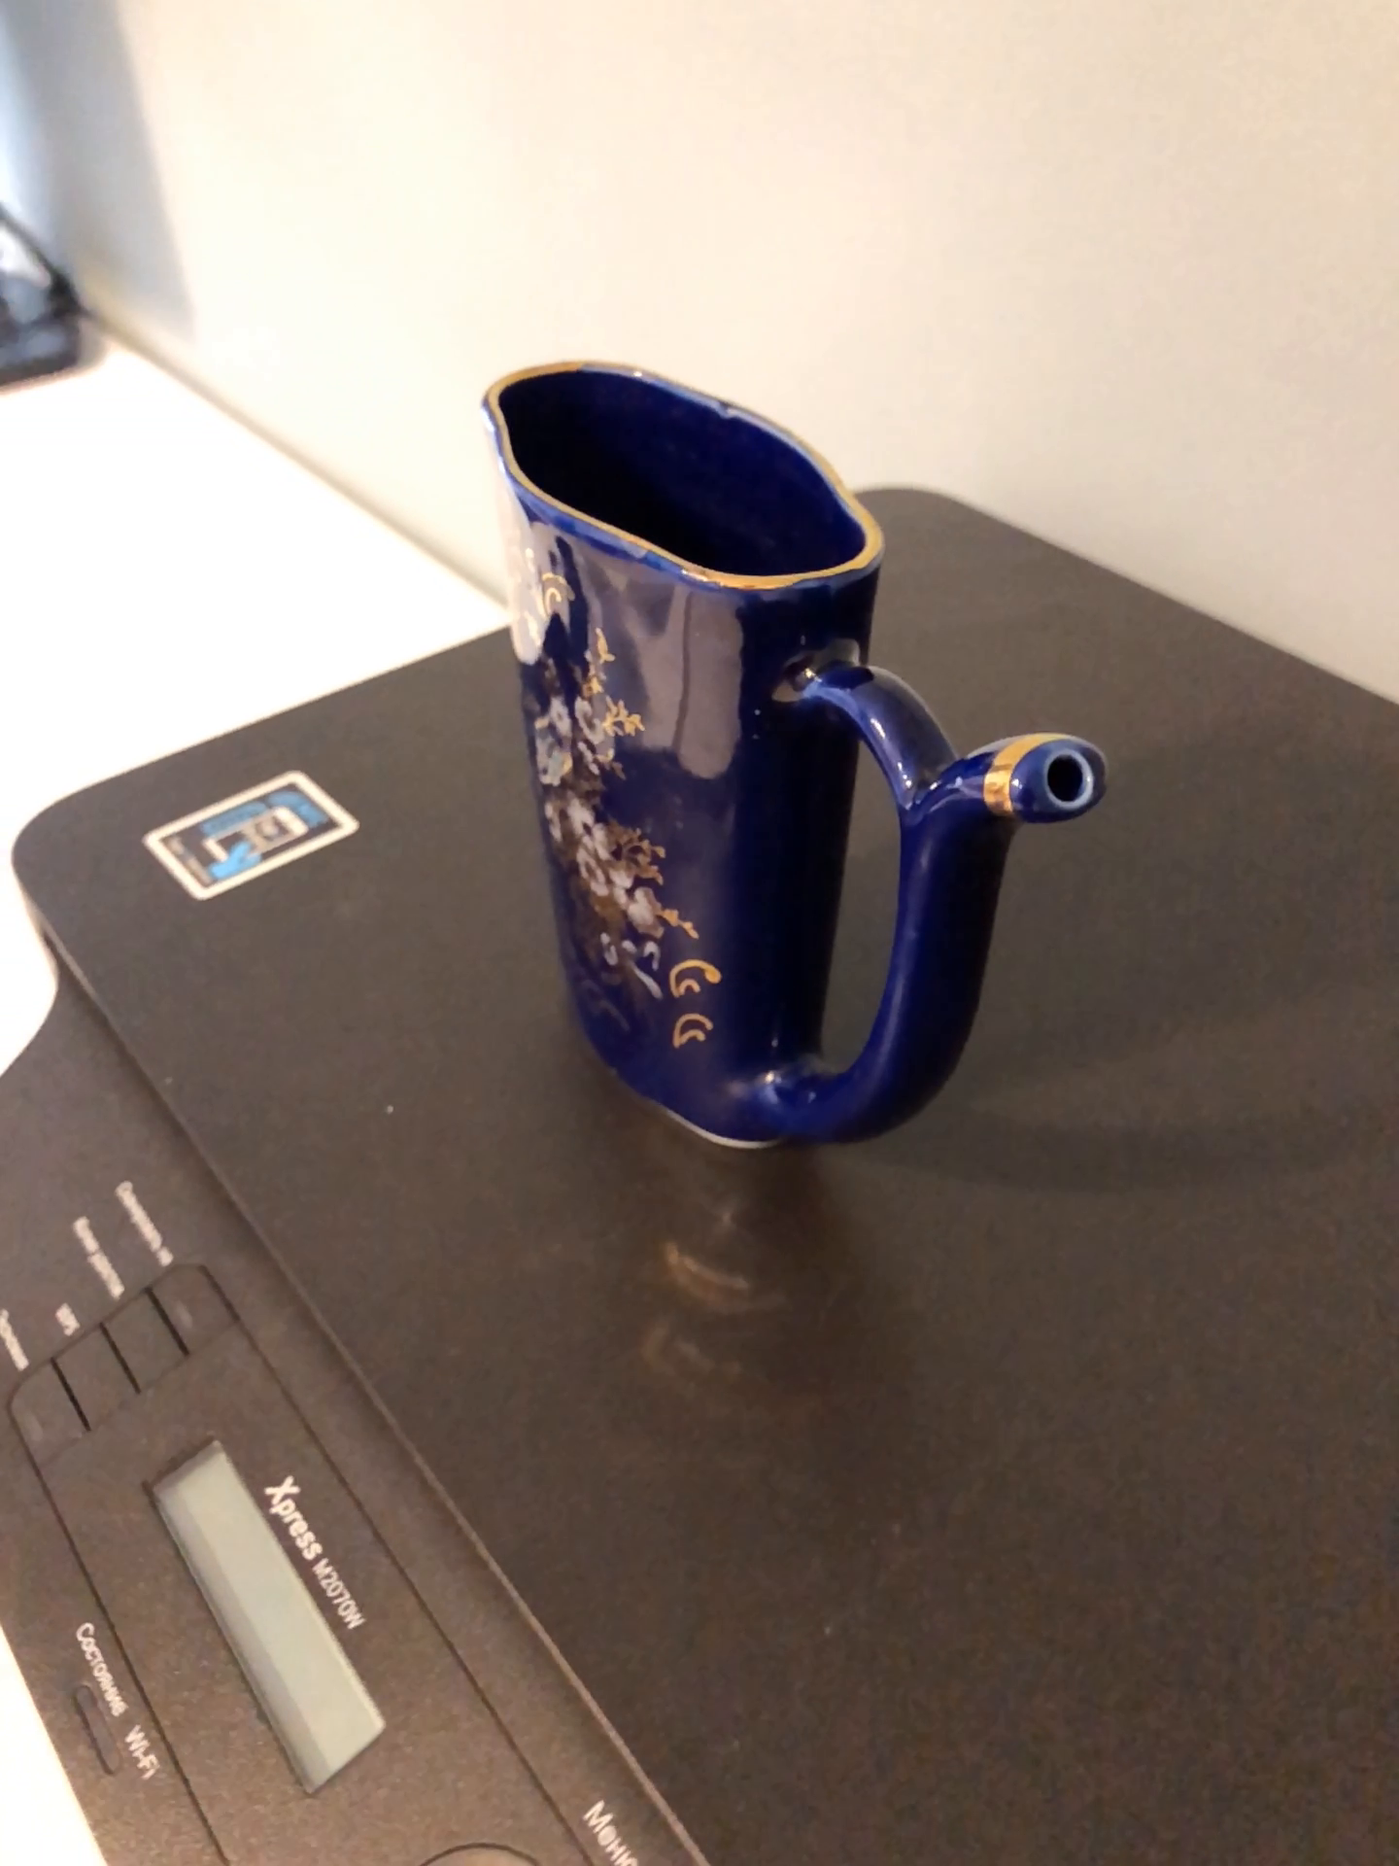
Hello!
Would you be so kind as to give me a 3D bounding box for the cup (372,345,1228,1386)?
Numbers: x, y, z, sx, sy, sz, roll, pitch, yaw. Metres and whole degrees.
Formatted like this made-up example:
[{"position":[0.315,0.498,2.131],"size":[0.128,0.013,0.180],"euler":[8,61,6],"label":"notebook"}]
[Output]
[{"position":[0.008,-0.016,0.254],"size":[0.050,0.109,0.131],"euler":[-26,46,-25],"label":"cup"}]
